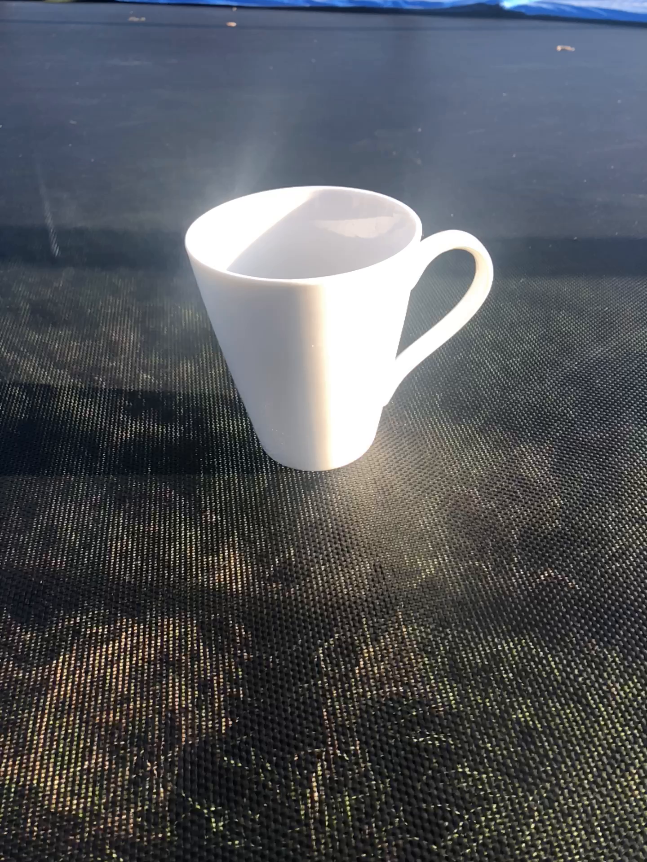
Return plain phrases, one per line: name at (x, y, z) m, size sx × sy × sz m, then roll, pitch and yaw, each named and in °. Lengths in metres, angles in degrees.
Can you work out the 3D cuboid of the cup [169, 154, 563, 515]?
cup at (0.011, -0.045, 0.297) m, size 0.129 × 0.094 × 0.097 m, roll -11°, pitch 37°, yaw -6°
